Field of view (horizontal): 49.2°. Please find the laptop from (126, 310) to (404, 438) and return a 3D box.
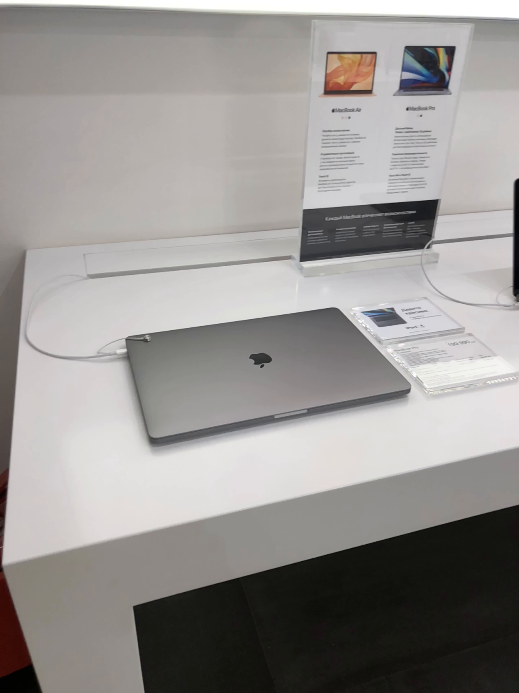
[{"bbox_3d":[-0.003,0.024,0.820,0.344,0.003,0.232,-9,33,-17],"label":"laptop"}]
